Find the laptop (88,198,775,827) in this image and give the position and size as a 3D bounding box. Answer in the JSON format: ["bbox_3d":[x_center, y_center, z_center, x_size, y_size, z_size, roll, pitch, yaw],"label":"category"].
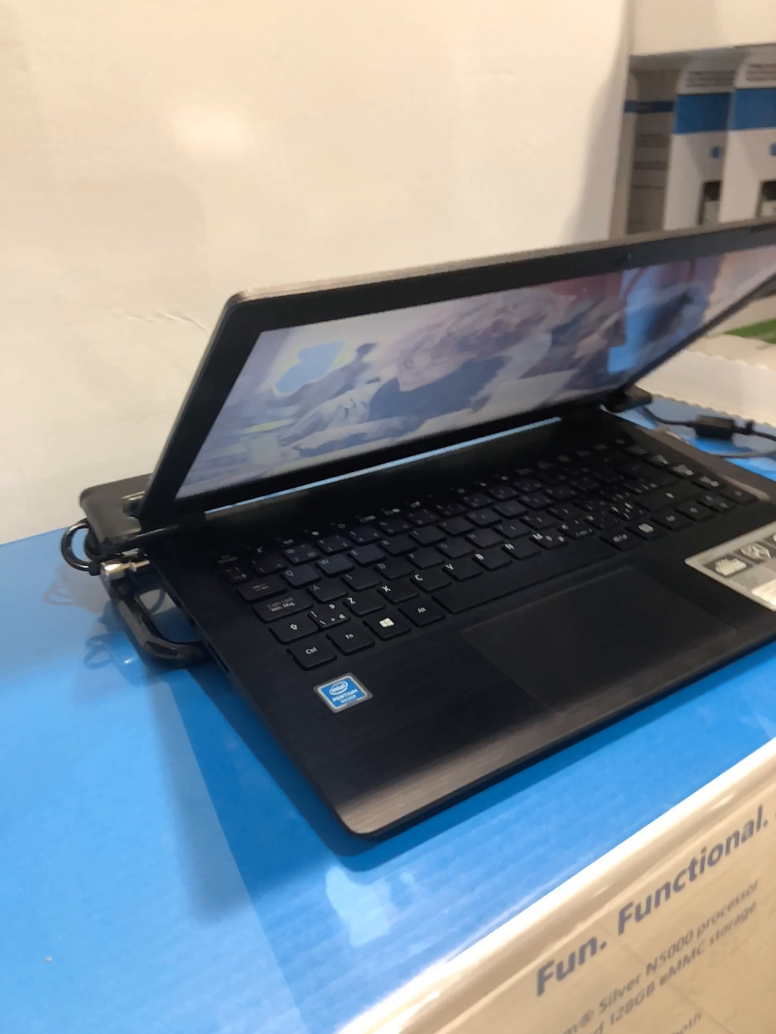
[{"bbox_3d":[0.068,-0.048,0.406,0.333,0.145,0.207,-17,30,-27],"label":"laptop"}]
